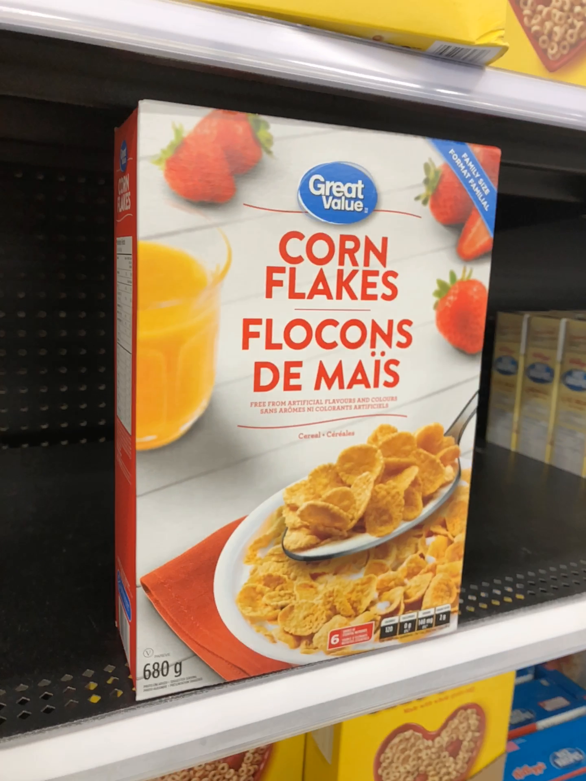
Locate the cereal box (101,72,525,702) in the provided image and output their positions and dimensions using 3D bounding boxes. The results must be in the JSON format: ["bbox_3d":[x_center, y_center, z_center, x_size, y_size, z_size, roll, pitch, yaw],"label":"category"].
[{"bbox_3d":[0.007,-0.001,0.422,0.240,0.329,0.090,-2,12,-23],"label":"cereal box"}]
